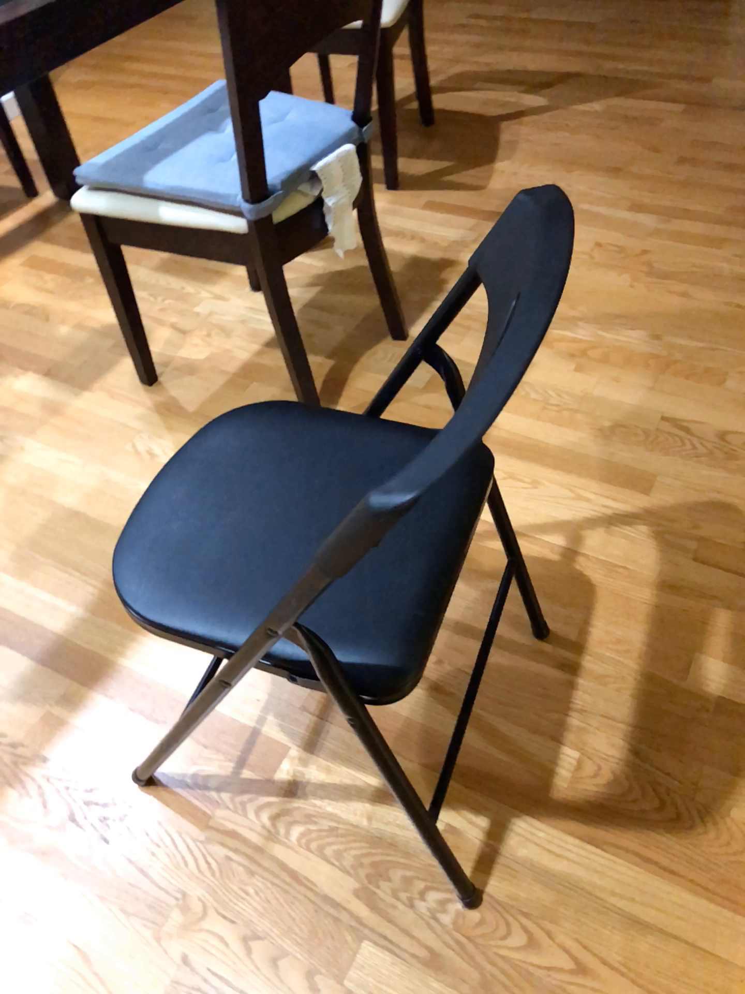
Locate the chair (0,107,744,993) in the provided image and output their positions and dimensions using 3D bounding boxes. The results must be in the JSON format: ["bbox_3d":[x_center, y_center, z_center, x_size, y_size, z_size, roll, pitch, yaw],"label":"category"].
[{"bbox_3d":[-0.031,0.042,0.919,0.681,0.657,0.613,12,49,17],"label":"chair"}]
